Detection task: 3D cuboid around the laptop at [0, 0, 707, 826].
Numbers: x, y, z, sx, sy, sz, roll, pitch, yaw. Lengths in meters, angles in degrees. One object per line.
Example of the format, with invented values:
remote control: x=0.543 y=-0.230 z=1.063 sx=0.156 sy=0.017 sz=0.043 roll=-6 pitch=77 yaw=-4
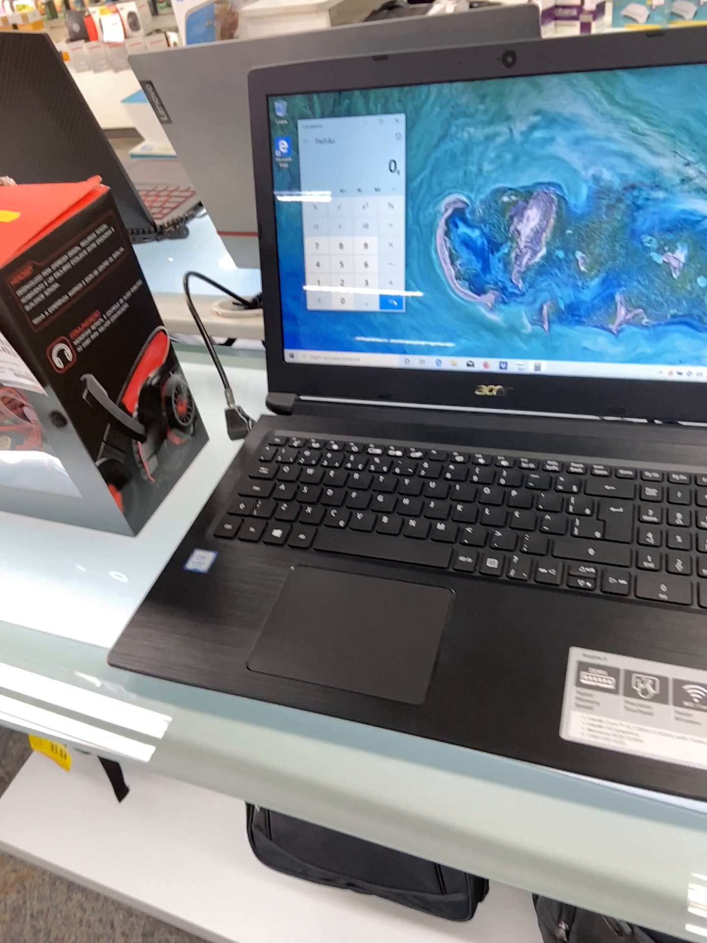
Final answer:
laptop: x=0.062 y=-0.071 z=0.414 sx=0.375 sy=0.227 sz=0.354 roll=6 pitch=44 yaw=20
